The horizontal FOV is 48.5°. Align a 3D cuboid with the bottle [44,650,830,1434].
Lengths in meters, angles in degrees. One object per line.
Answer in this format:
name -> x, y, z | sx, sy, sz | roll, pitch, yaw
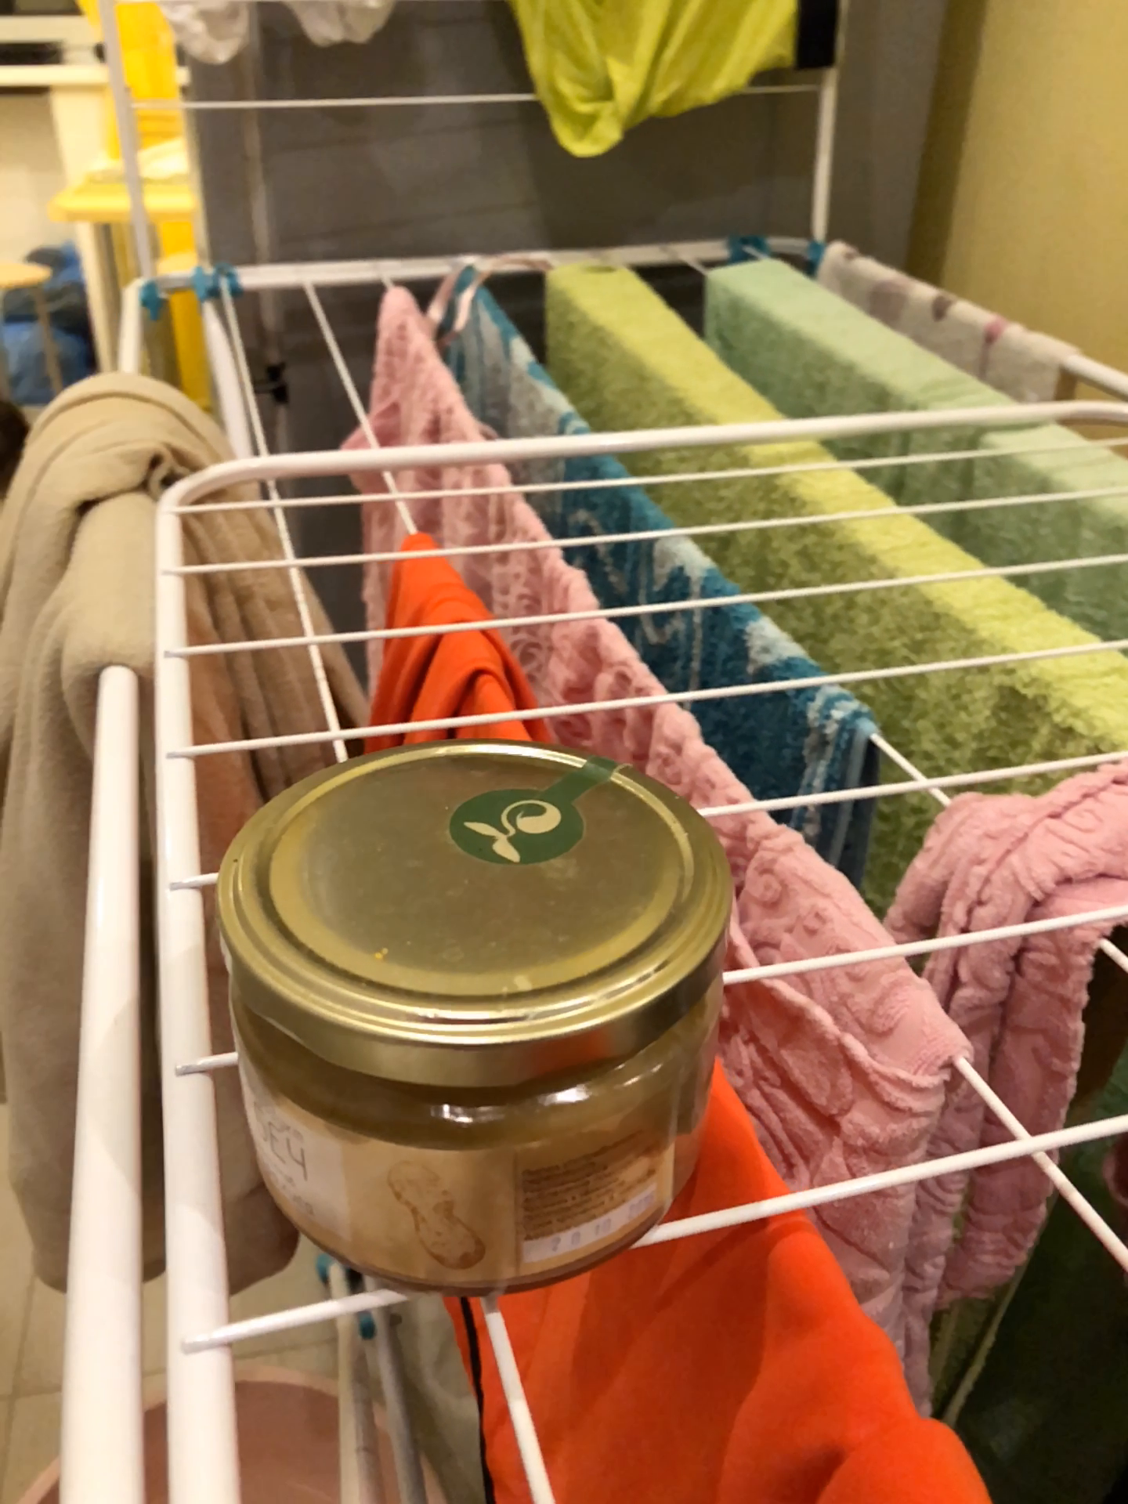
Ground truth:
bottle -> -0.022, 0.038, 0.217 | 0.090, 0.060, 0.090 | 1, 31, 0
